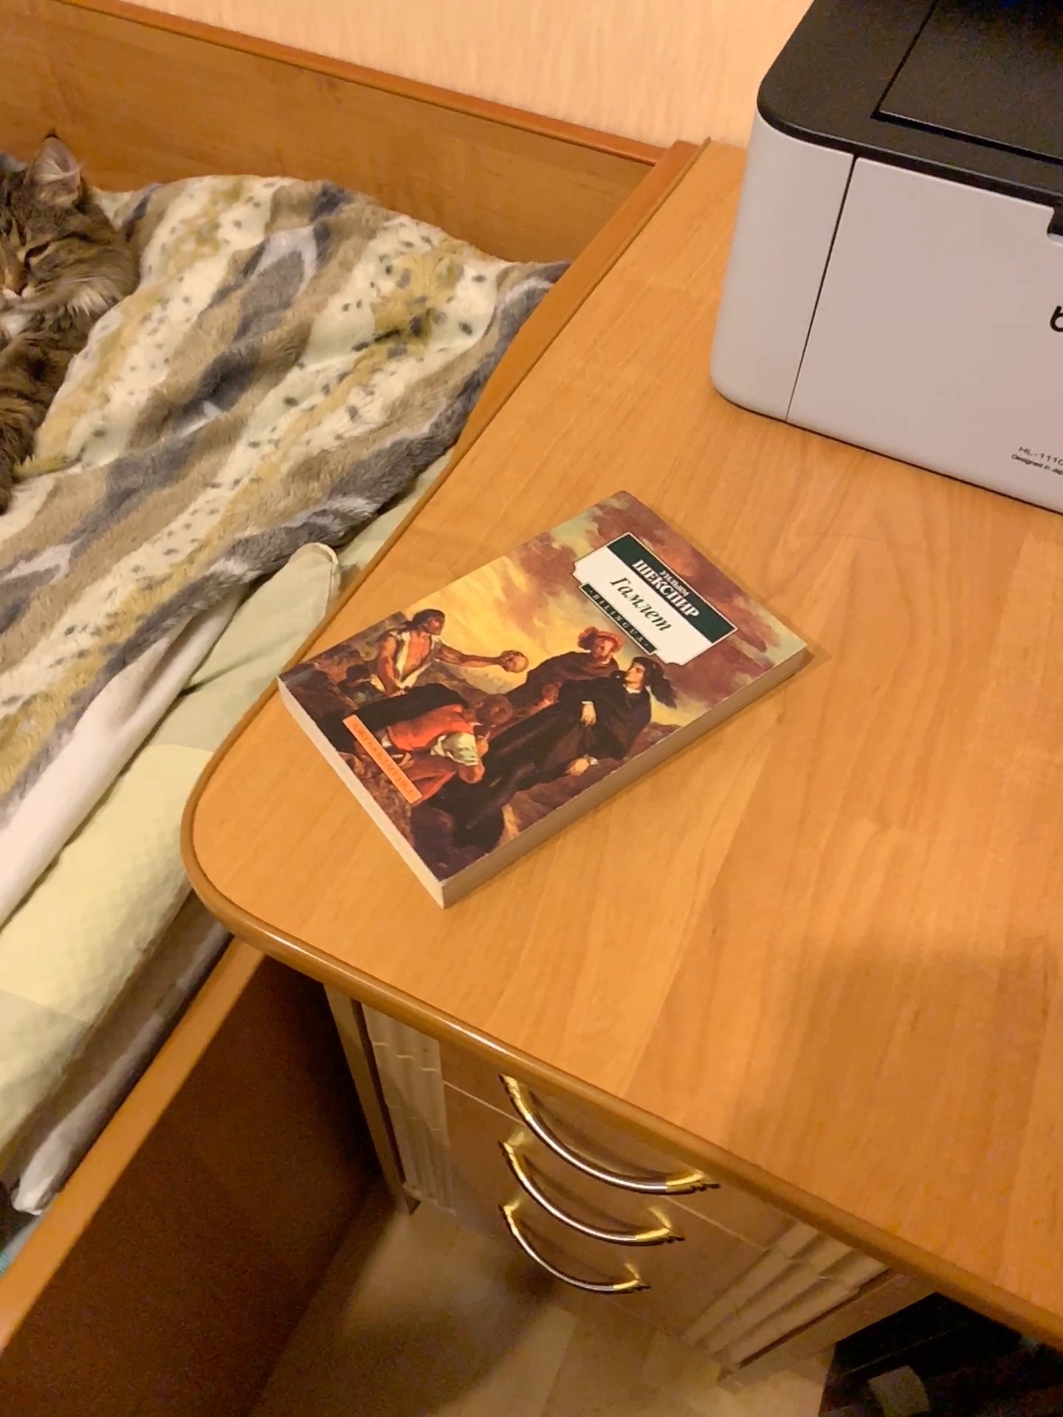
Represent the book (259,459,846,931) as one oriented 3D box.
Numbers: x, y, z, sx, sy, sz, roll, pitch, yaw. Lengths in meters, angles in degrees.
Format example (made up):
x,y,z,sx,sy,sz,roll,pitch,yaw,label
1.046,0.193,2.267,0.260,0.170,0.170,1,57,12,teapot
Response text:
x,y,z,sx,sy,sz,roll,pitch,yaw,label
0.010,-0.016,0.428,0.190,0.030,0.121,-30,60,-21,book
